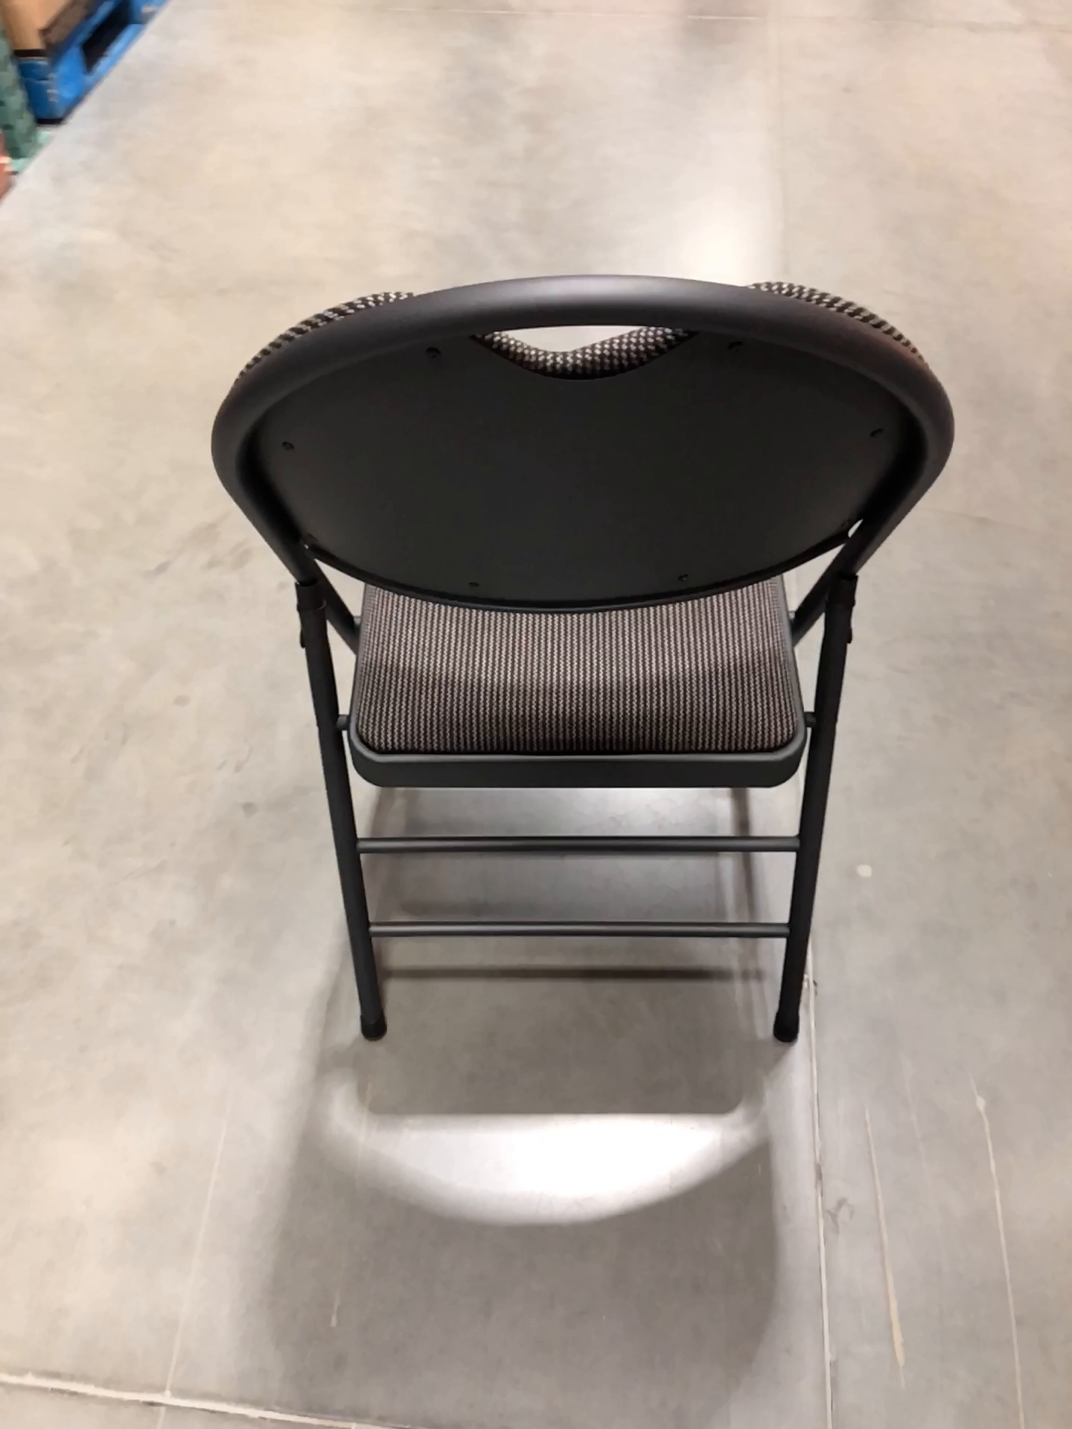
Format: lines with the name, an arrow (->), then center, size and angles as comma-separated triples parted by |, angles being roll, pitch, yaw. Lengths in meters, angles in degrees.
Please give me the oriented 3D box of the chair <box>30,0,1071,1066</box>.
chair -> 0.047, -0.149, 1.032 | 0.520, 0.867, 0.562 | 0, 49, 2
